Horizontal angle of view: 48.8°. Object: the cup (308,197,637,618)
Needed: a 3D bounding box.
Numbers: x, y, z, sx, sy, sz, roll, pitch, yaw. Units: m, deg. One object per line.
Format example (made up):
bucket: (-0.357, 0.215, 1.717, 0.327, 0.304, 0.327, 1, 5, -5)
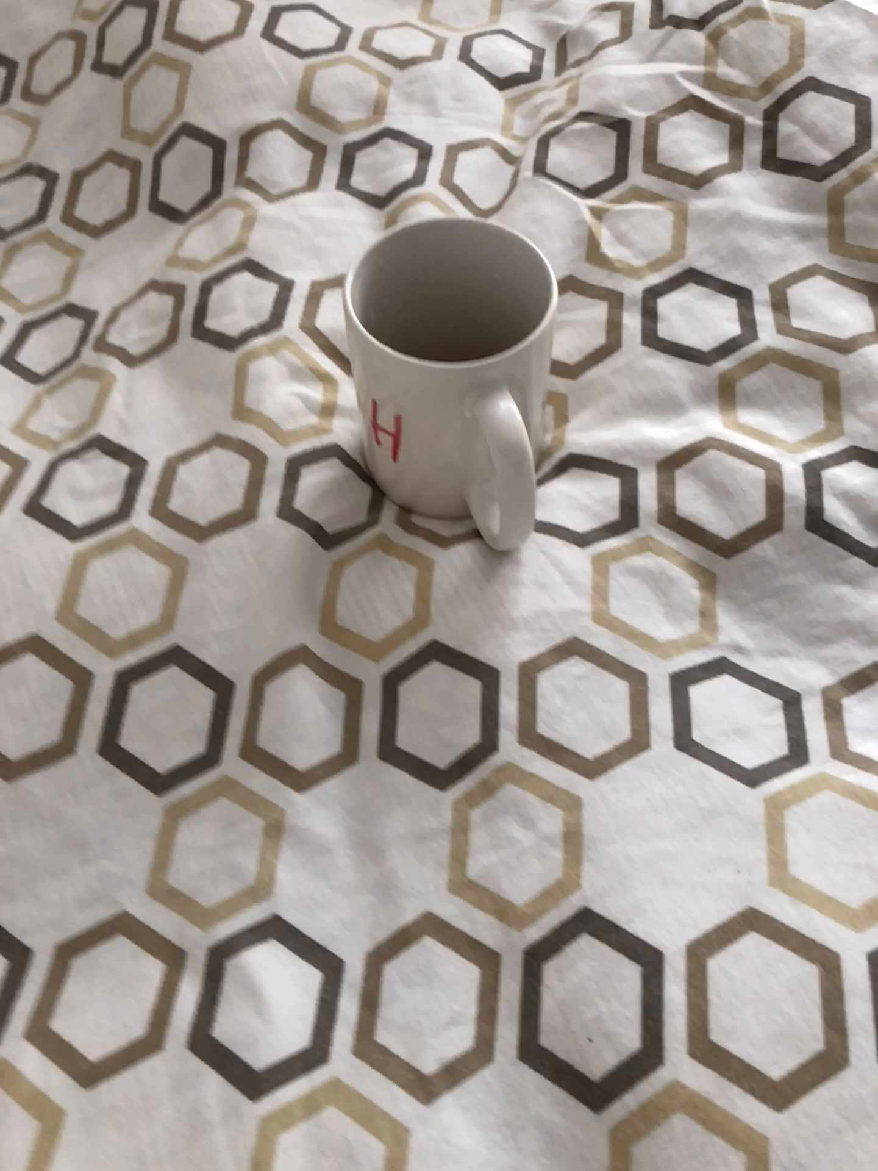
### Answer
cup: (0.009, -0.072, 0.394, 0.086, 0.087, 0.126, -16, 62, -7)
